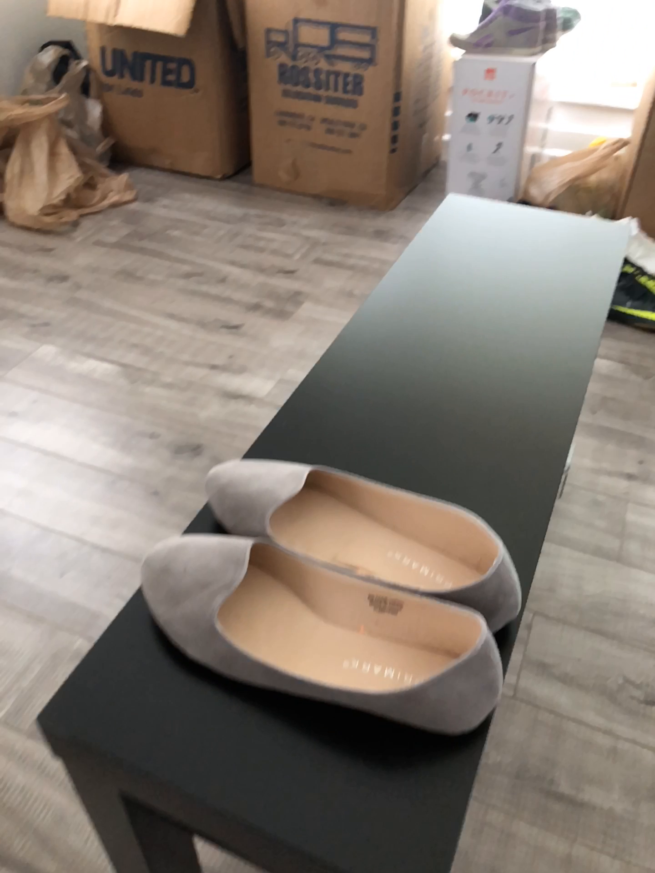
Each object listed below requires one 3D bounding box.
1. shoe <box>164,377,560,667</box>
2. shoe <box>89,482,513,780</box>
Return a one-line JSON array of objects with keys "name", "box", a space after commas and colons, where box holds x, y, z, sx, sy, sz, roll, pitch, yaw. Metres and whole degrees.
[{"name": "shoe", "box": [0.021, 0.053, 0.526, 0.253, 0.090, 0.100, 18, 43, 19]}, {"name": "shoe", "box": [-0.017, 0.118, 0.478, 0.250, 0.060, 0.100, 15, 43, 17]}]
